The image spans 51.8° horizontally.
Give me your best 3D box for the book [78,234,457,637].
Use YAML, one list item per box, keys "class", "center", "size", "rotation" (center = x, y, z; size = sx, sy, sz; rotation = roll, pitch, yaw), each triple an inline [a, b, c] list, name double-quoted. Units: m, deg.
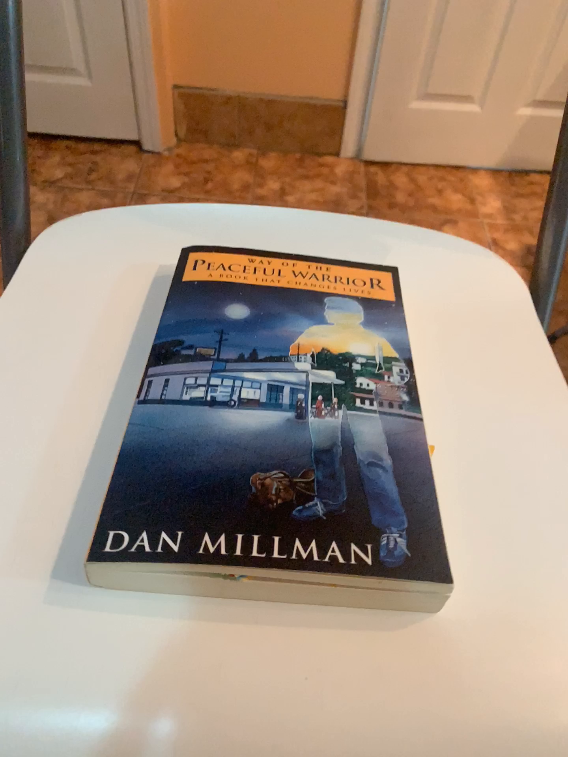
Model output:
- class: "book"
  center: [-0.001, 0.011, 0.300]
  size: [0.141, 0.039, 0.211]
  rotation: [5, 49, 0]
